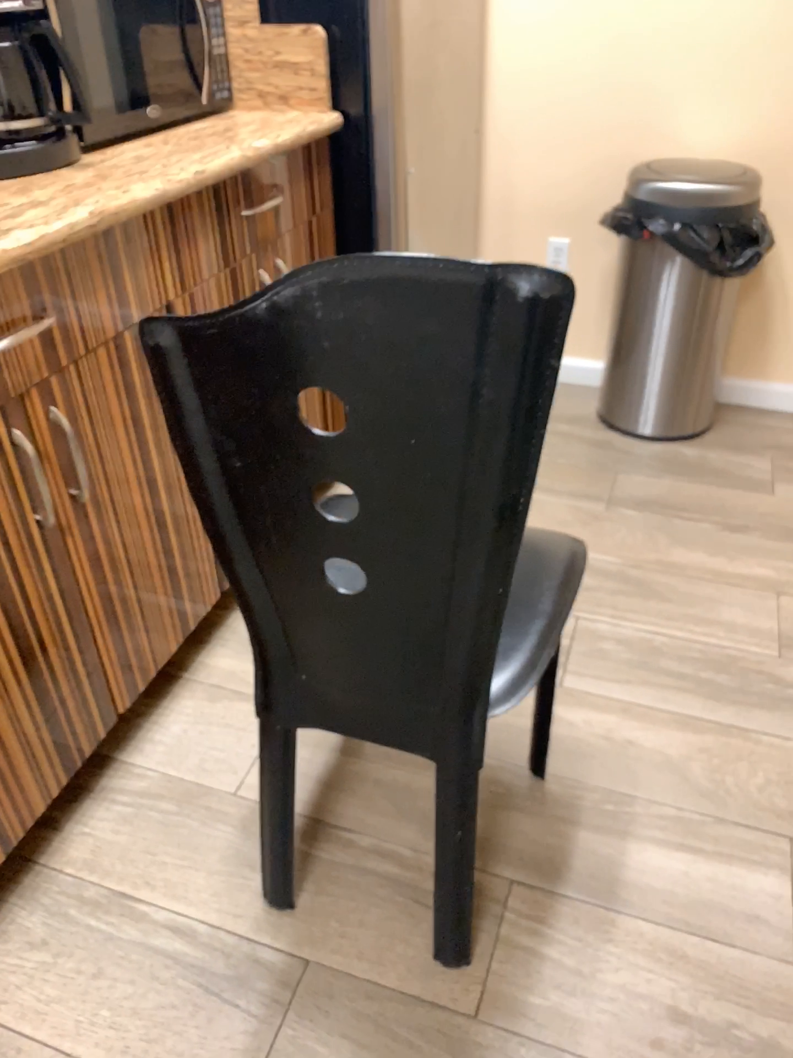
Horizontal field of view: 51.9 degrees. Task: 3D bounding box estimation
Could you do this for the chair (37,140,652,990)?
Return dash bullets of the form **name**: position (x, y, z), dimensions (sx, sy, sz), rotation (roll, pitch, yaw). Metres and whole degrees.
- **chair**: position (-0.002, 0.055, 1.070), dimensions (0.462, 0.941, 0.476), rotation (11, 36, 16)
